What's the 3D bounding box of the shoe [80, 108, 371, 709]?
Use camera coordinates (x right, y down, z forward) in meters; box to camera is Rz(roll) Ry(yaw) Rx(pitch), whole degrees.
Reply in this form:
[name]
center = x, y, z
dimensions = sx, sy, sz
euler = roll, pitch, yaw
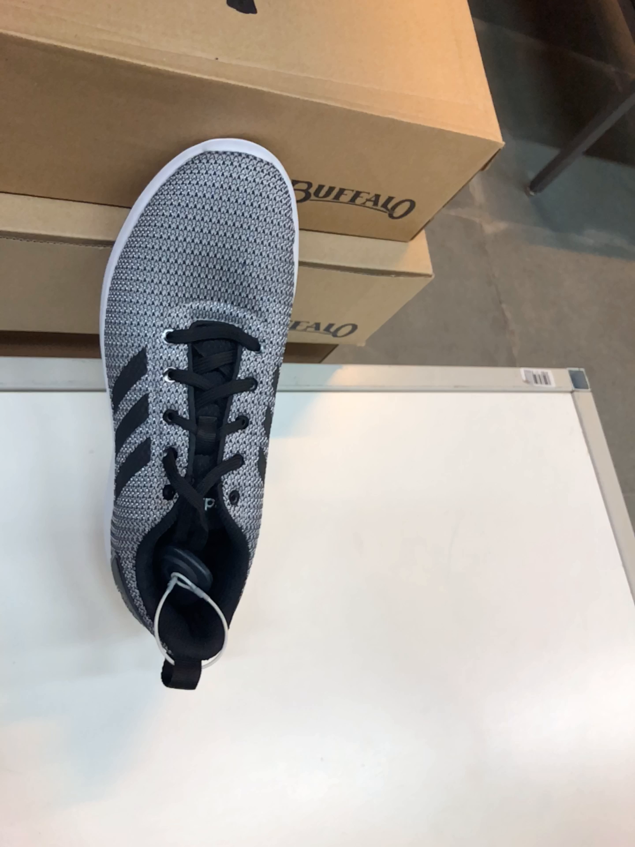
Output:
[shoe]
center = -0.062, -0.004, 0.385
dimensions = 0.112, 0.098, 0.281
euler = 3, 104, -21
